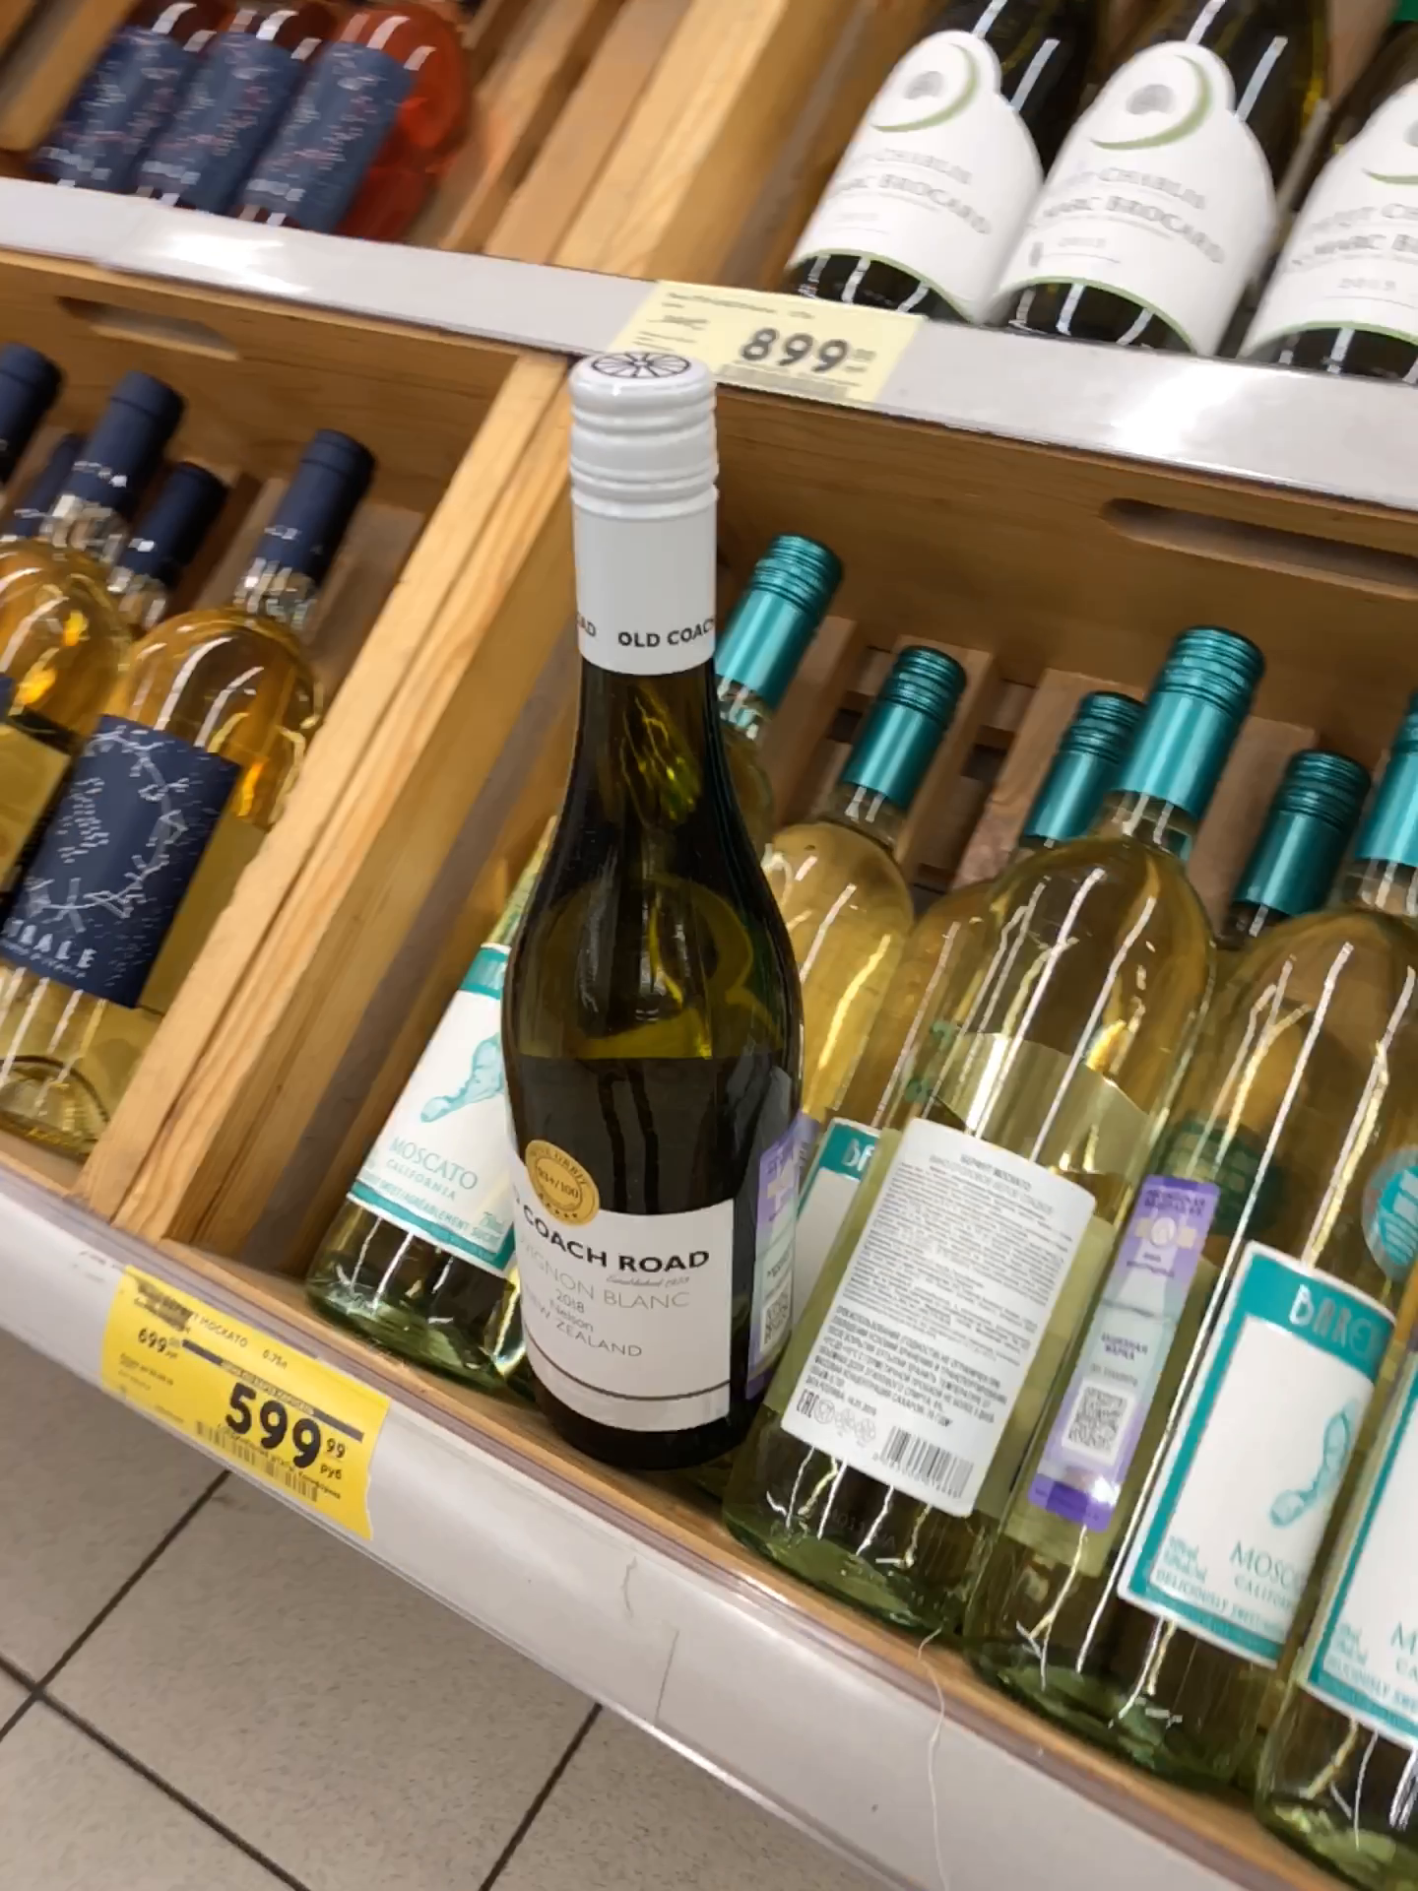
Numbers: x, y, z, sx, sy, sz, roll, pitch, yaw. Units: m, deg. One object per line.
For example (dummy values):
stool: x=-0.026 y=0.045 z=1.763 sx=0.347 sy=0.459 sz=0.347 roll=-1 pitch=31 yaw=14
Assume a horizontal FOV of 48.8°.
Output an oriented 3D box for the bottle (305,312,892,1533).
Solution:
bottle: x=-0.017 y=0.010 z=0.389 sx=0.078 sy=0.290 sz=0.088 roll=20 pitch=41 yaw=26
